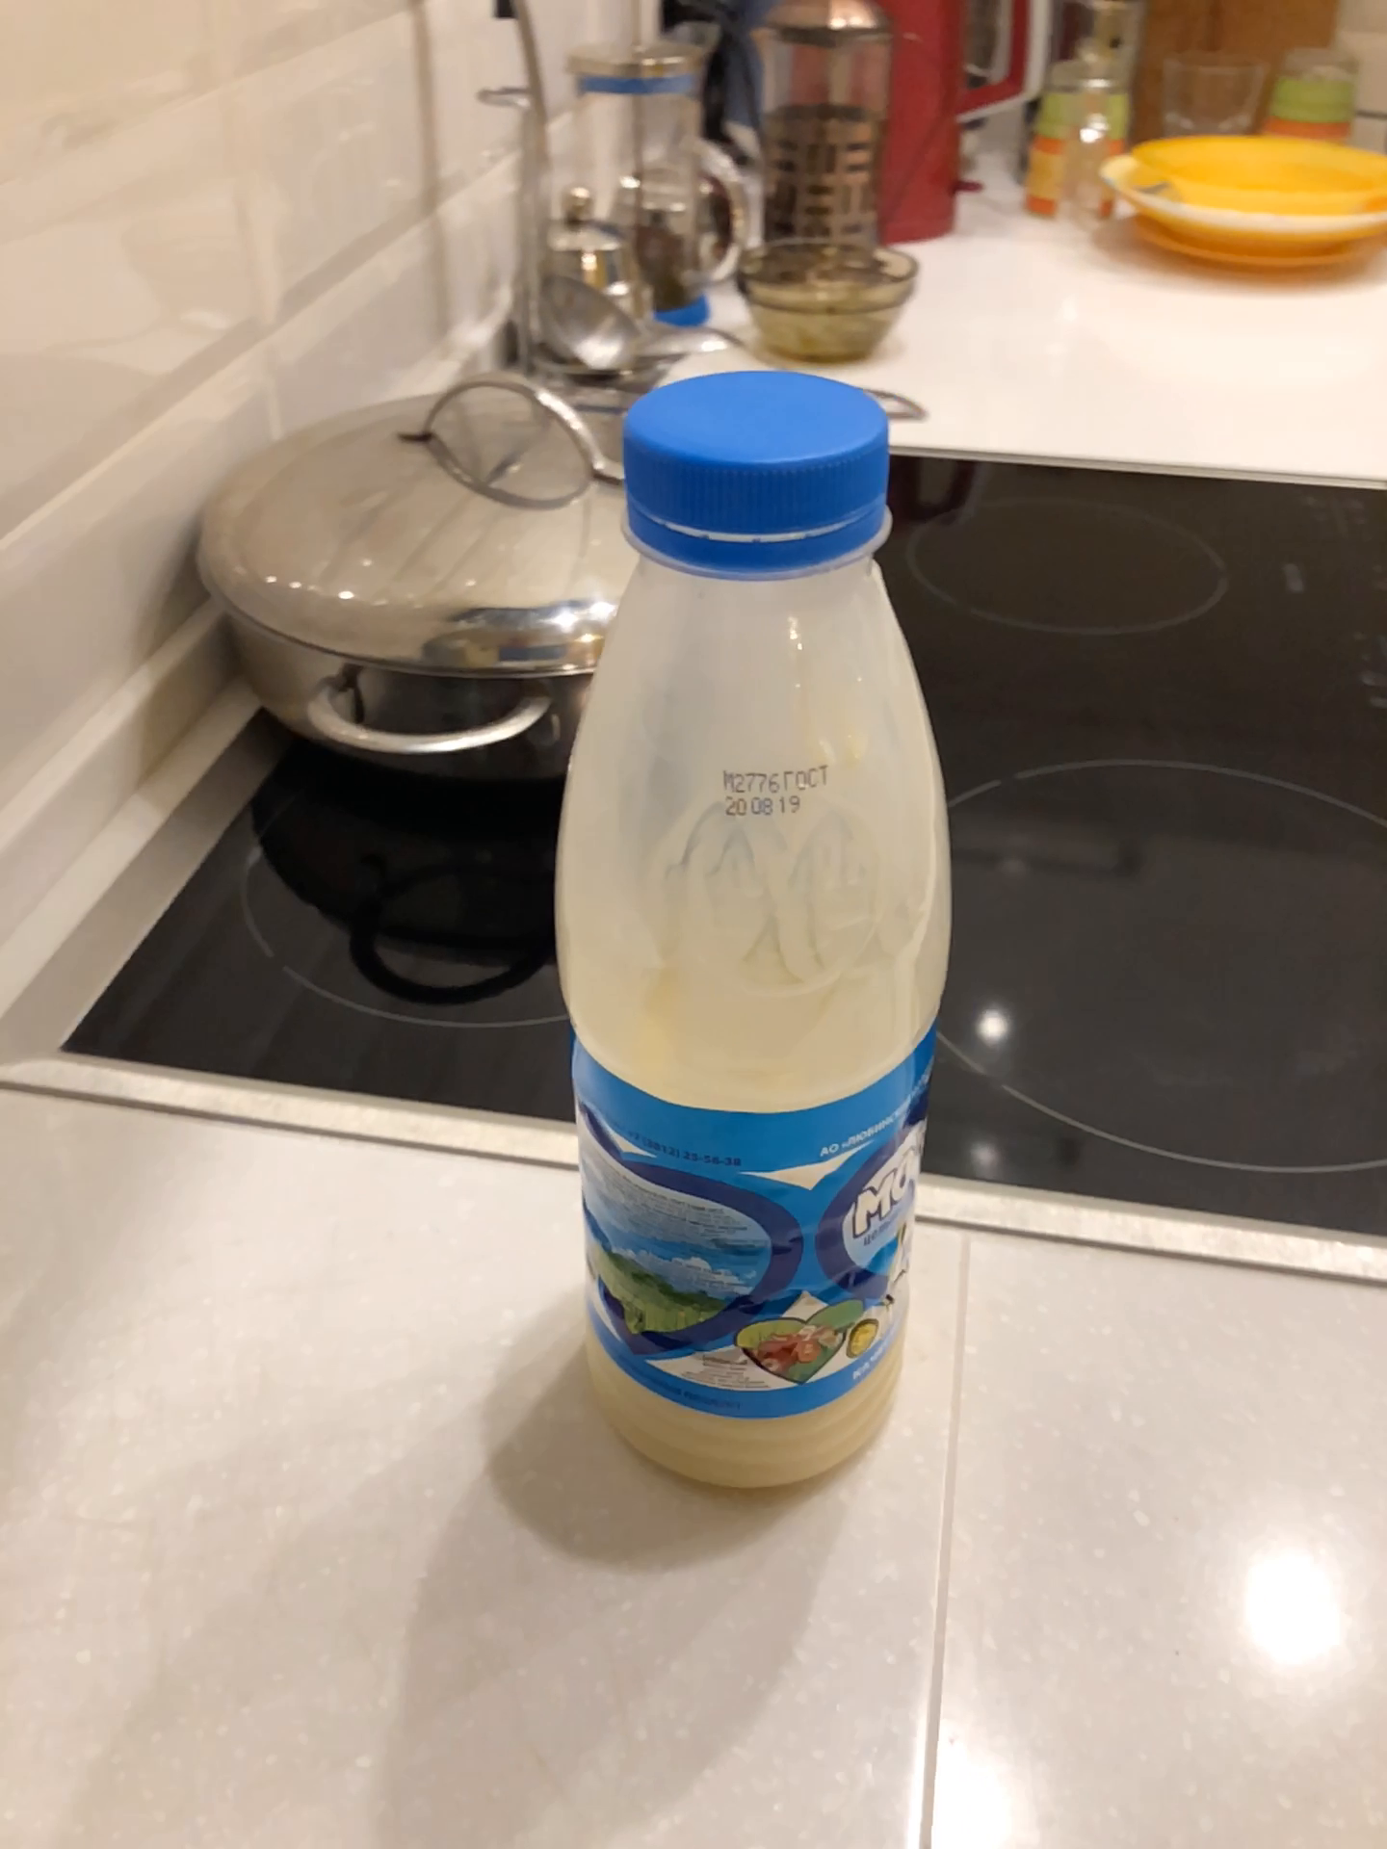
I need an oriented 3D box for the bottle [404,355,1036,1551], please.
[{"bbox_3d":[0.009,0.016,0.290,0.080,0.213,0.081,0,37,0],"label":"bottle"}]
